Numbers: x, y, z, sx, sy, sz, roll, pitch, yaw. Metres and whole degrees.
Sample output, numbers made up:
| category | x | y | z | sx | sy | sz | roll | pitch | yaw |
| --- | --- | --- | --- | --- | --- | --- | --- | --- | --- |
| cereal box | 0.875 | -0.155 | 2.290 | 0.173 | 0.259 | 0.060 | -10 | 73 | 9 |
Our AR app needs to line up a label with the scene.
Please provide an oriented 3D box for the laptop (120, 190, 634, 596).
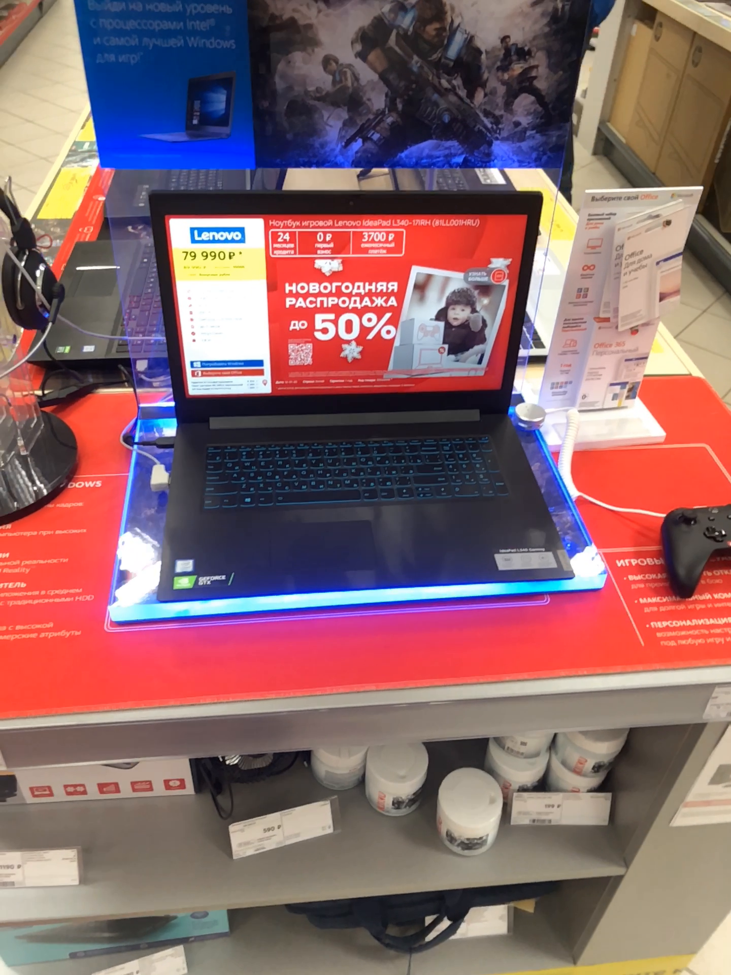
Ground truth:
| category | x | y | z | sx | sy | sz | roll | pitch | yaw |
| --- | --- | --- | --- | --- | --- | --- | --- | --- | --- |
| laptop | -0.001 | -0.108 | 0.813 | 0.404 | 0.255 | 0.296 | -2 | 41 | -5 |
